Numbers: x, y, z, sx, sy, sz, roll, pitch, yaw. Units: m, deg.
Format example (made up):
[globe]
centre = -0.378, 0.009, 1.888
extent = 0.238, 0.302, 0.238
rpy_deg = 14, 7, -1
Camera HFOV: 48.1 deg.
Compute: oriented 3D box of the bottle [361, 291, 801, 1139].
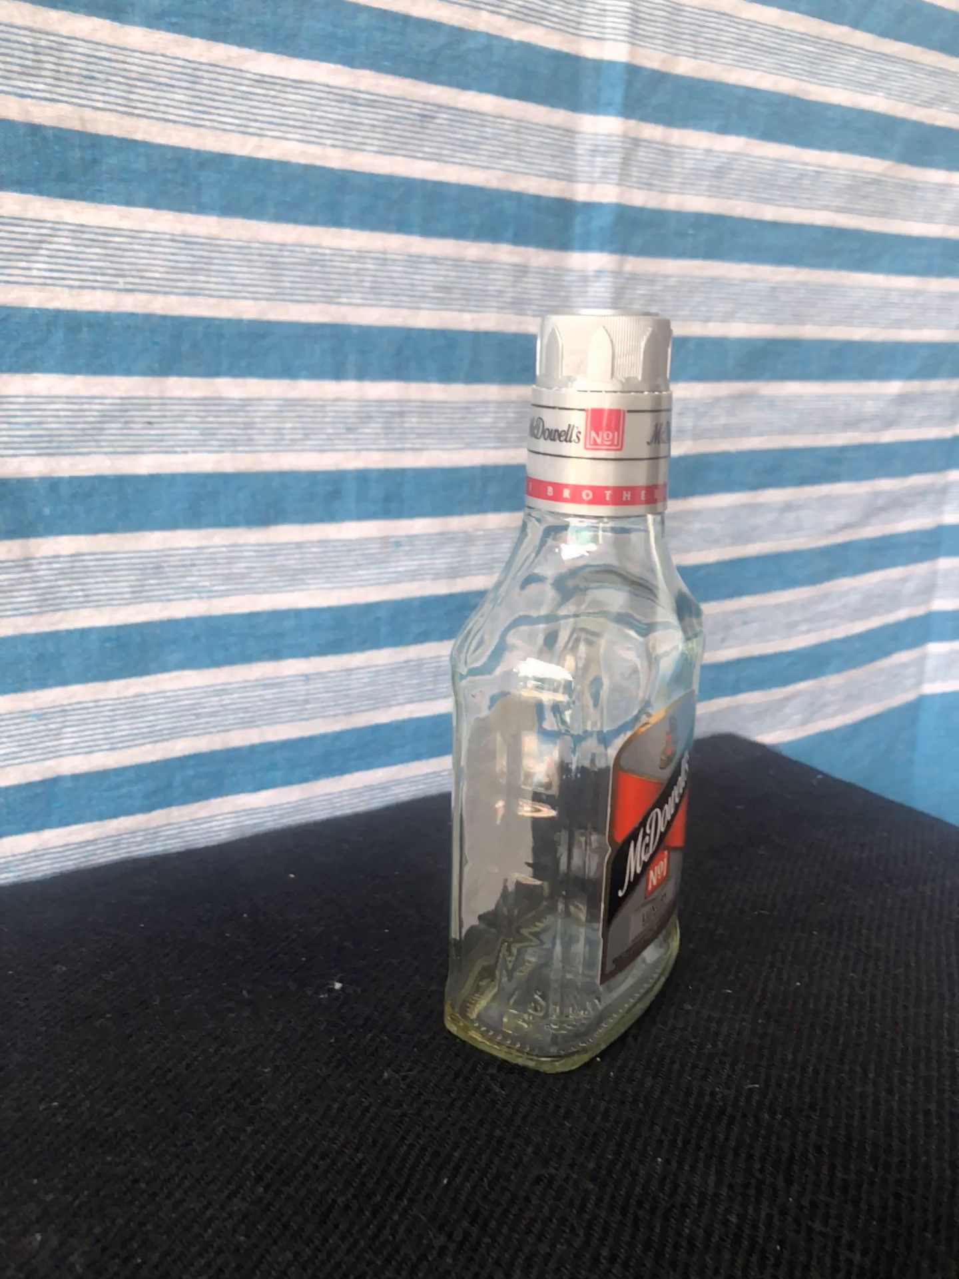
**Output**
[bottle]
centre = 0.021, 0.010, 0.223
extent = 0.050, 0.149, 0.070
rpy_deg = 14, 18, 29
